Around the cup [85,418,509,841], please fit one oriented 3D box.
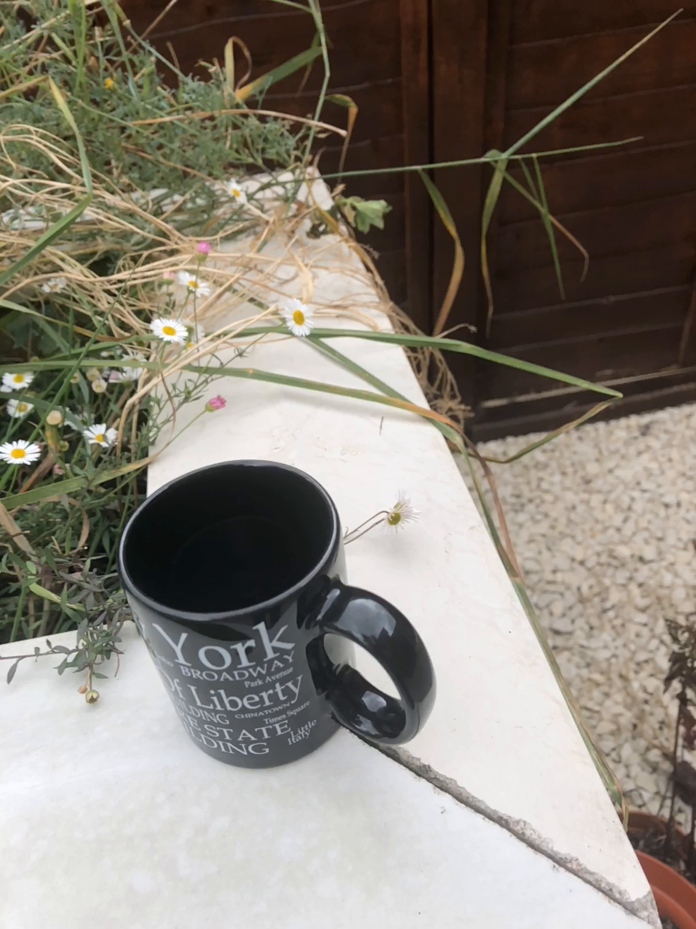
[{"bbox_3d":[-0.010,0.042,0.218,0.090,0.069,0.060,15,43,25],"label":"cup"}]
